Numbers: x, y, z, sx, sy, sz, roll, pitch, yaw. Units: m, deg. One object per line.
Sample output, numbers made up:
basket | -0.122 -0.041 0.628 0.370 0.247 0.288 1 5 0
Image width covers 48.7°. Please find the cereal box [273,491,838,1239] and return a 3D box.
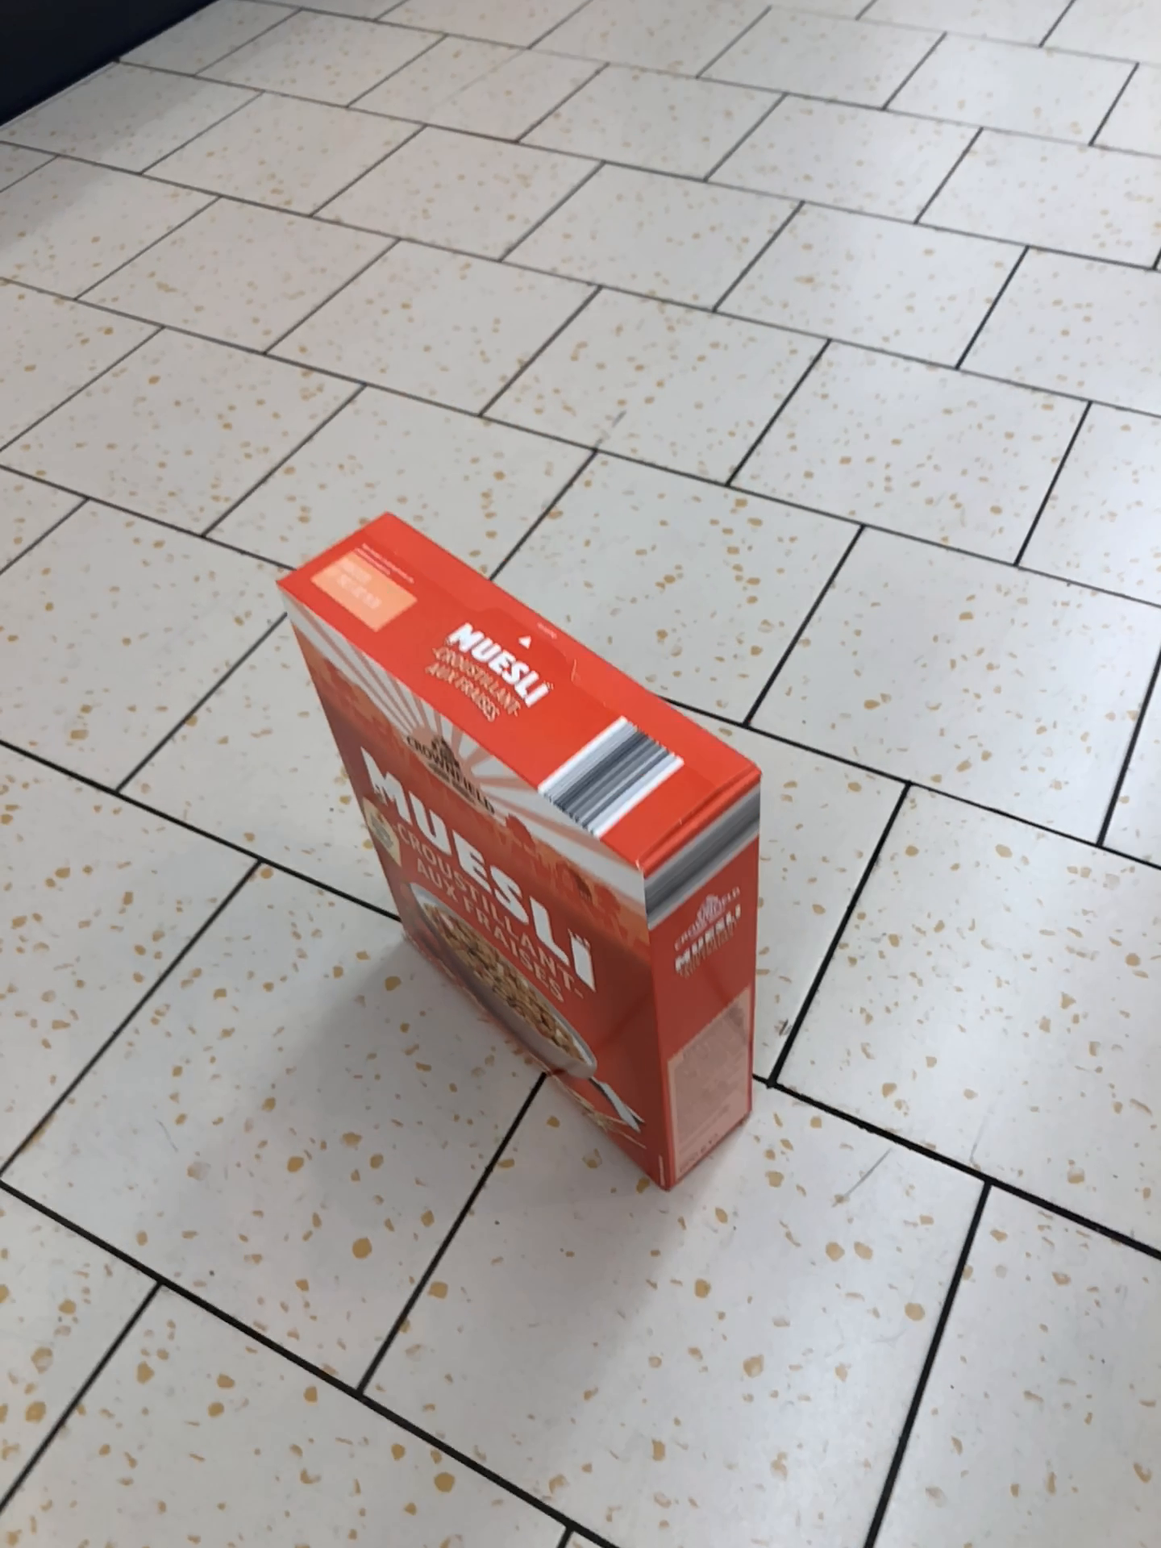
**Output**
cereal box | -0.007 0.045 0.515 0.070 0.249 0.200 -37 56 -23
